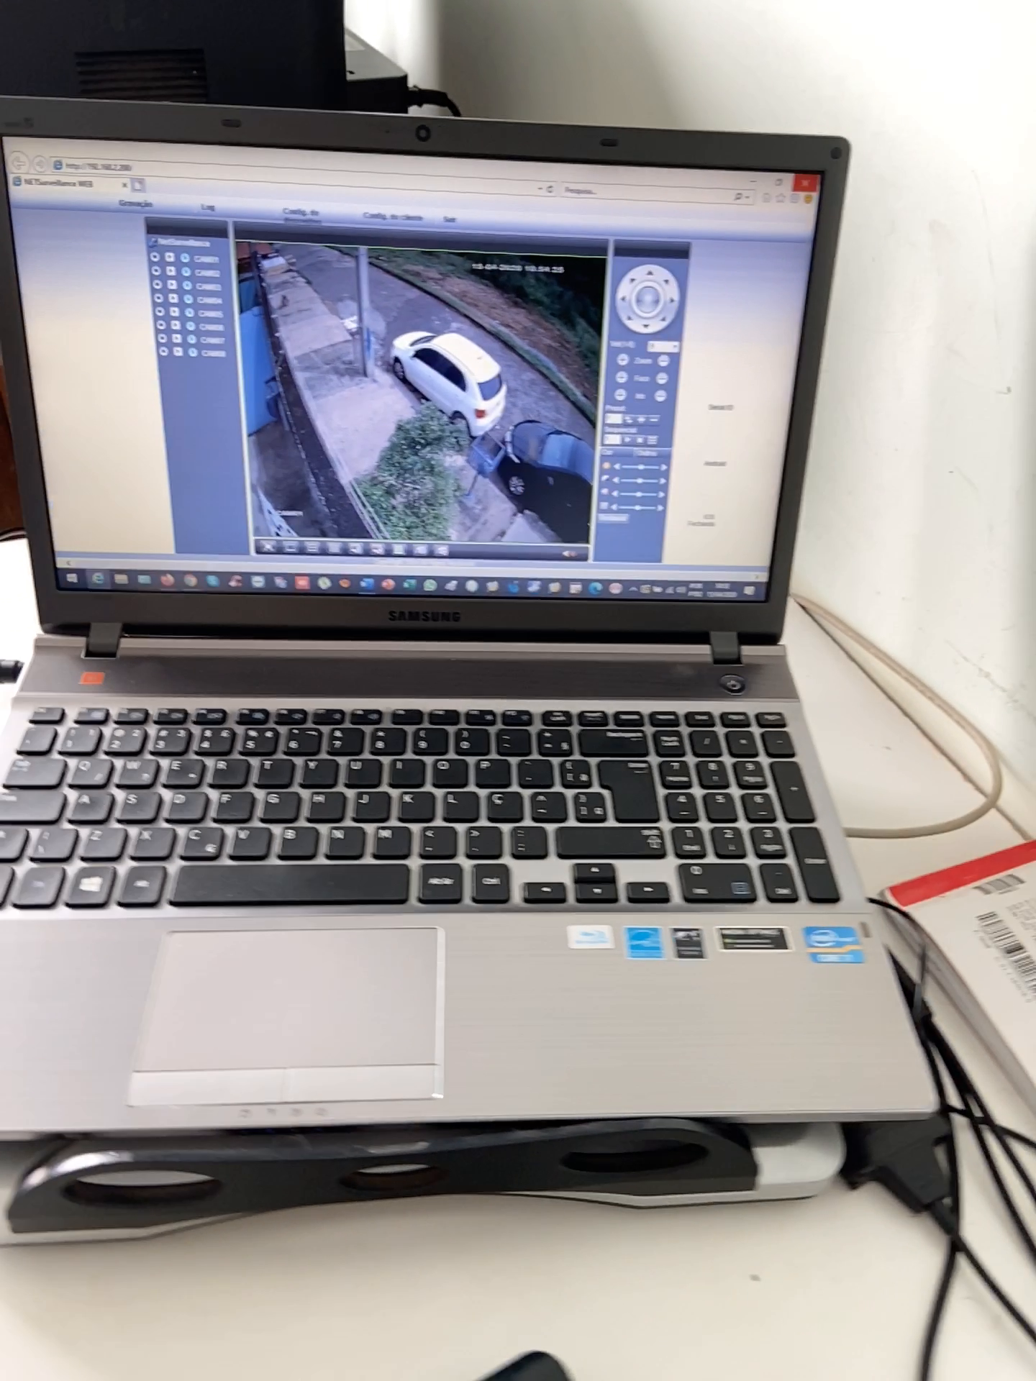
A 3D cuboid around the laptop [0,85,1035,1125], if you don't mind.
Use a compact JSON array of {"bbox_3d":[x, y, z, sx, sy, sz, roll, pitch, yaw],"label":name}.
[{"bbox_3d":[-0.038,-0.054,0.408,0.367,0.213,0.337,1,44,-4],"label":"laptop"}]
